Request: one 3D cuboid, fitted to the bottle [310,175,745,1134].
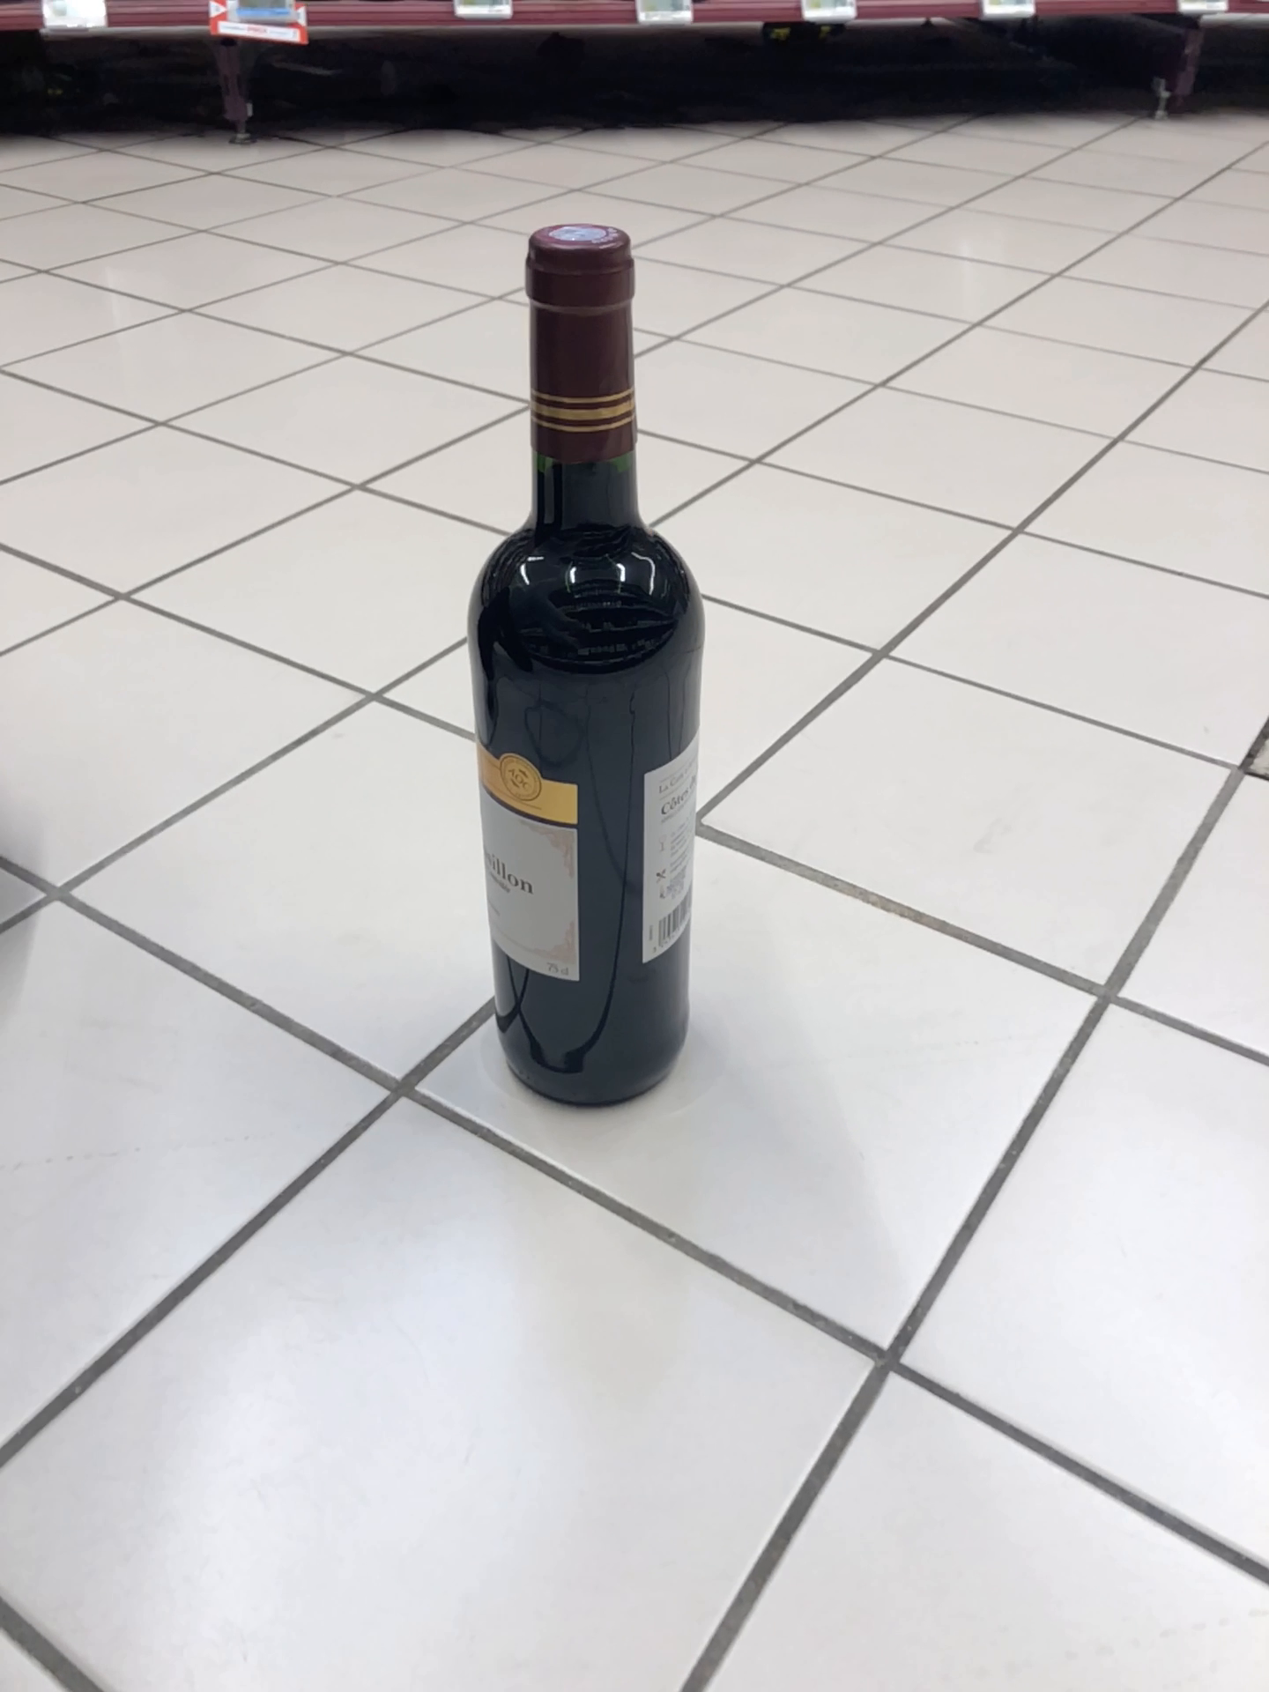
[{"bbox_3d":[-0.025,-0.047,0.449,0.090,0.288,0.091,1,37,0],"label":"bottle"}]
